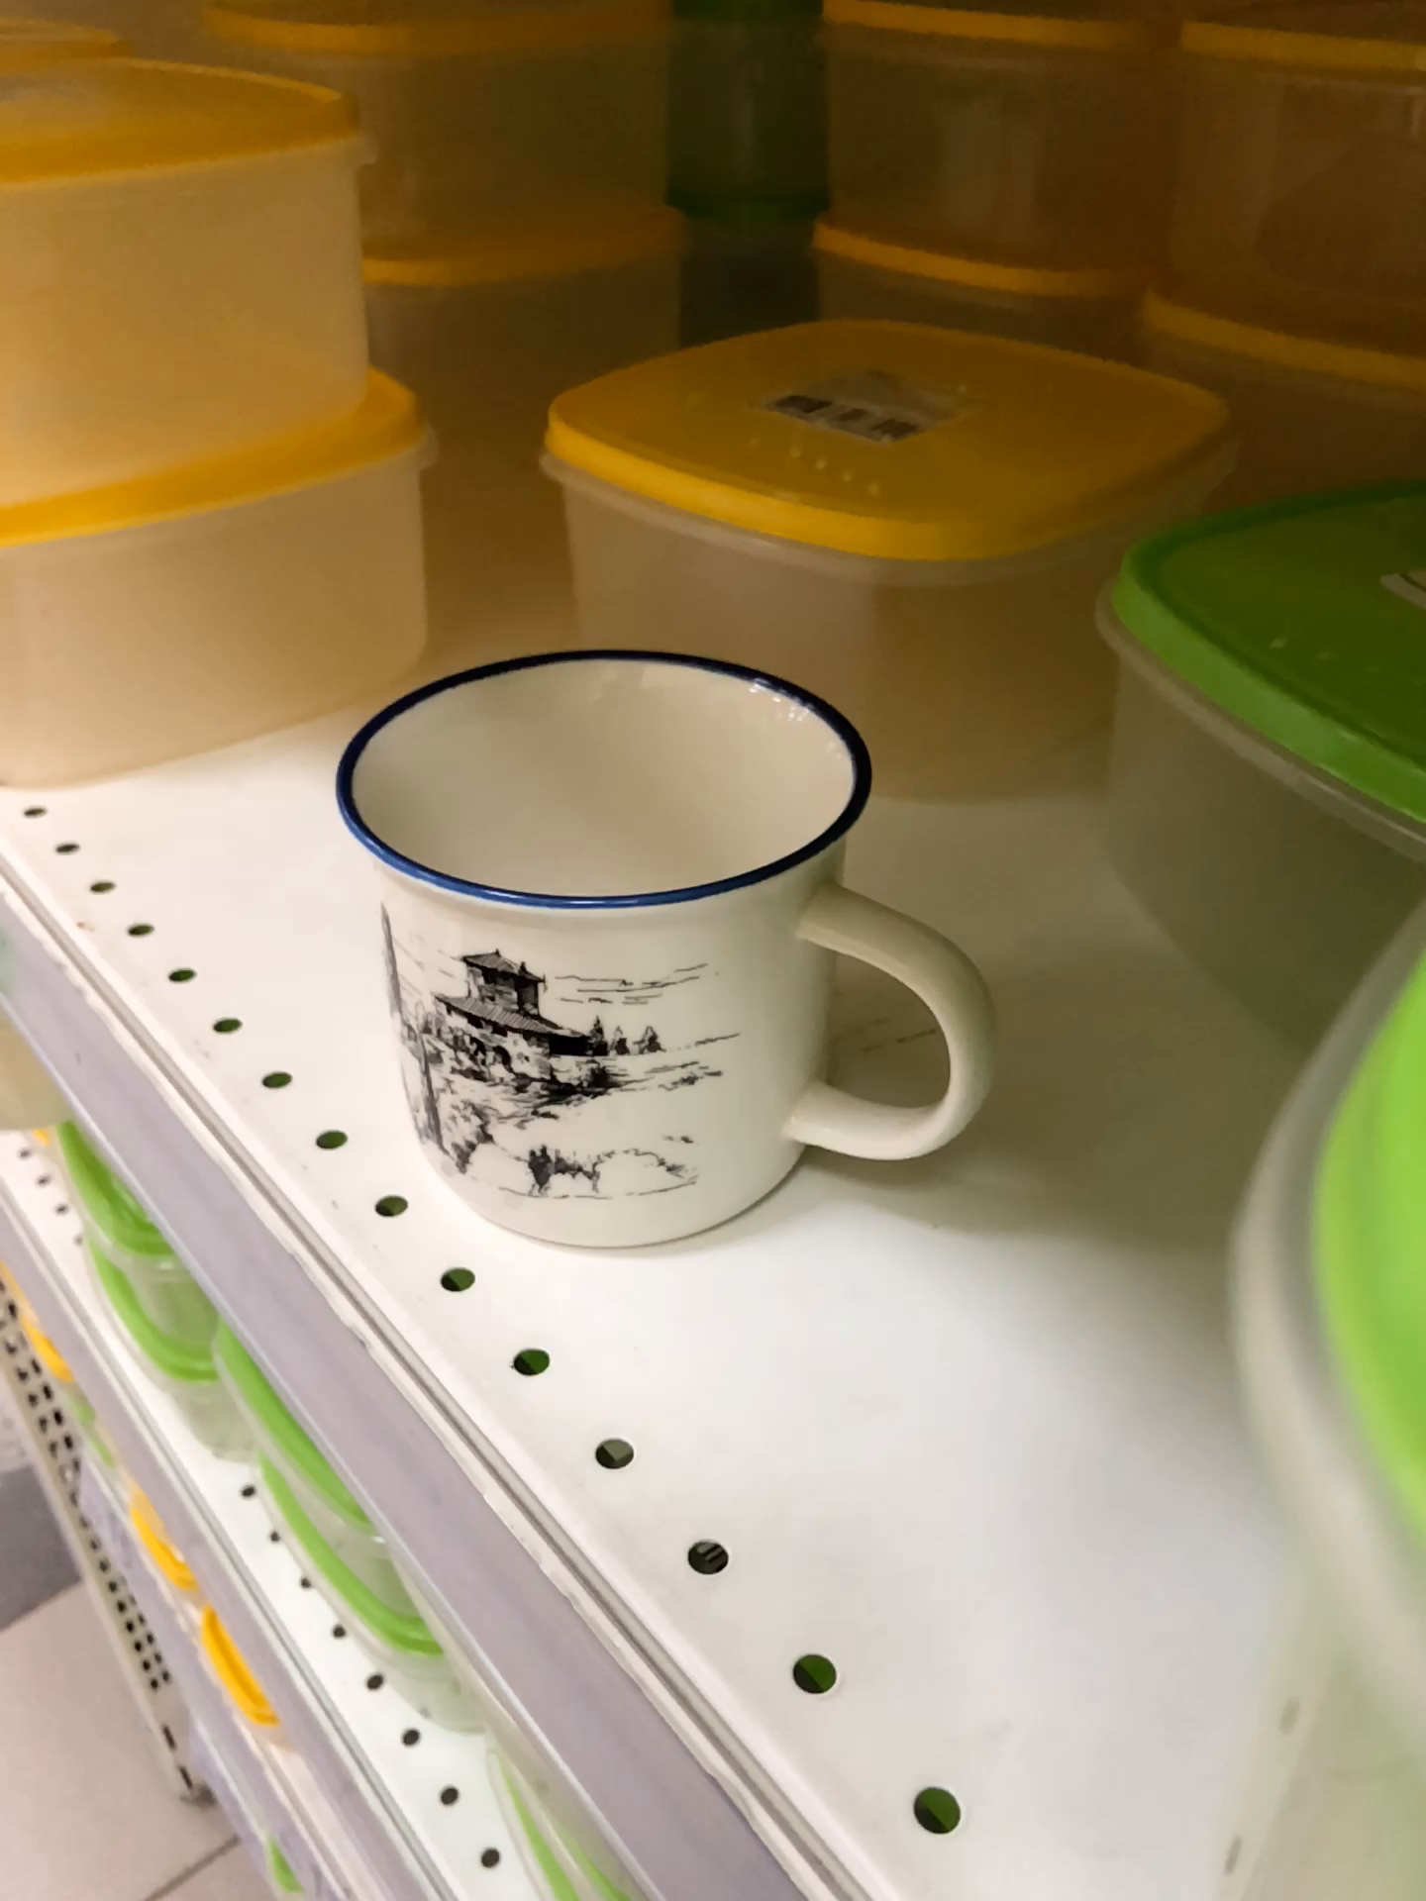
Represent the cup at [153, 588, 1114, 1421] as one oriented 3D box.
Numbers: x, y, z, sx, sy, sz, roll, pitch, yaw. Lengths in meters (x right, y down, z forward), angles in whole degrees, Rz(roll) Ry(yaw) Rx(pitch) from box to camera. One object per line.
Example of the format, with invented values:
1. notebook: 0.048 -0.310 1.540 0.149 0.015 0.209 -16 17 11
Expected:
1. cup: -0.014 -0.003 0.291 0.130 0.068 0.103 27 44 34
